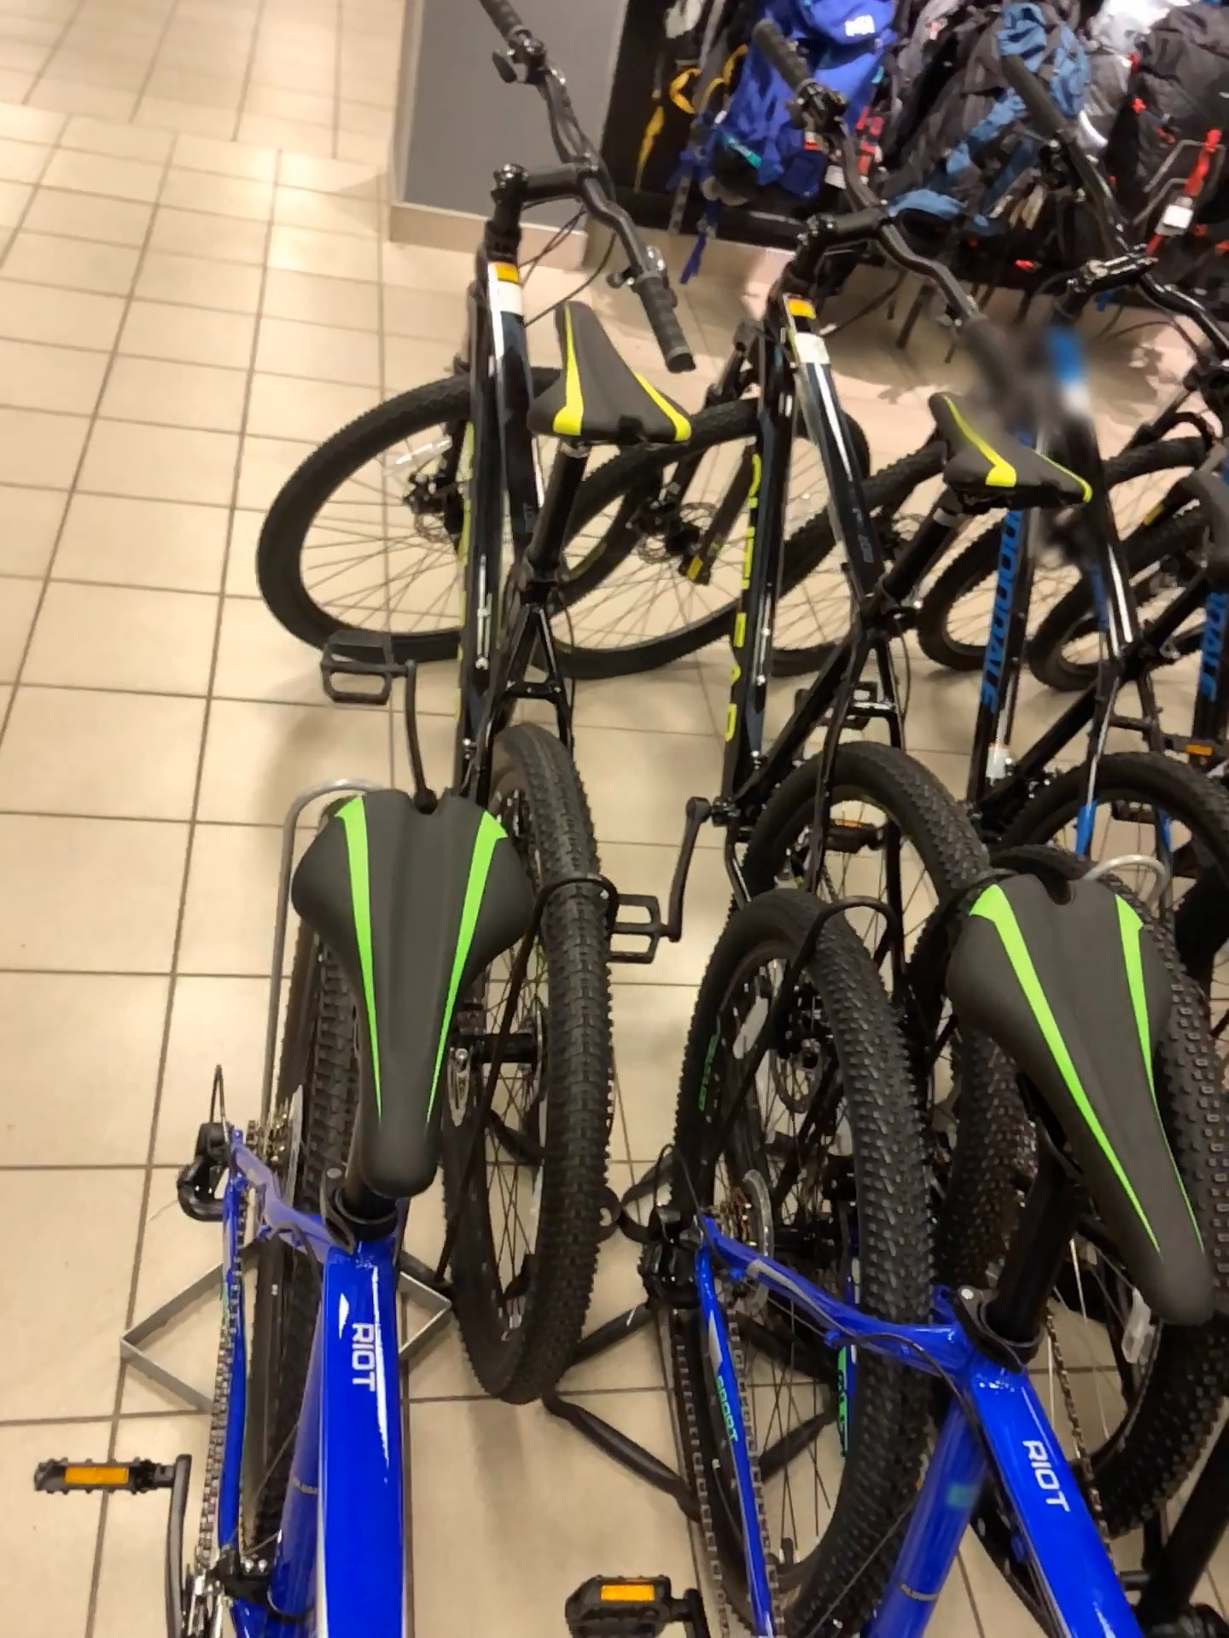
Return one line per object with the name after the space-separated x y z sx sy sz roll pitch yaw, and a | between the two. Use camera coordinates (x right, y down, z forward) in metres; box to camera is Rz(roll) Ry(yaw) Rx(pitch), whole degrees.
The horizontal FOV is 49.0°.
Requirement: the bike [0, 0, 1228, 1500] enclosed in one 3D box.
-0.320 -0.144 1.488 0.662 1.044 1.358 -4 42 -22 | bike
